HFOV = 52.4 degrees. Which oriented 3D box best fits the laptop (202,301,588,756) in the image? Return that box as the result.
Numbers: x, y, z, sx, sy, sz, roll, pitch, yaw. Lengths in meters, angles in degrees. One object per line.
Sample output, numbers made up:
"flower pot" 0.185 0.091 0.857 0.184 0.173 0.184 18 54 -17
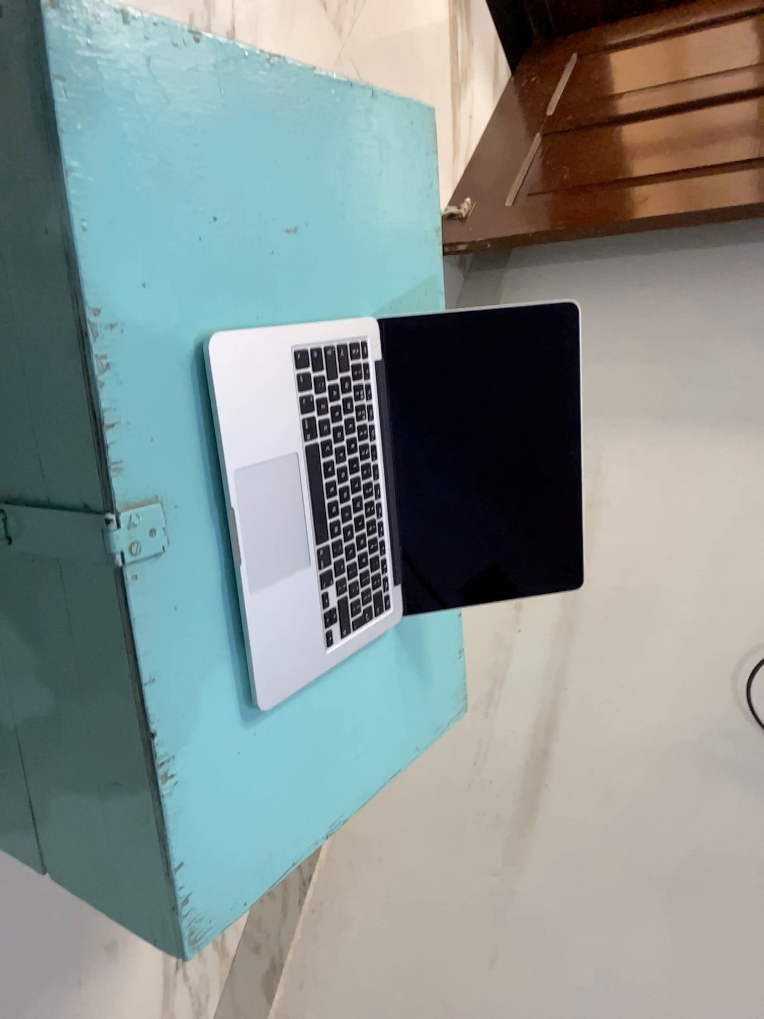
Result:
"laptop" 0.049 -0.020 0.730 0.379 0.148 0.313 -25 114 -52
